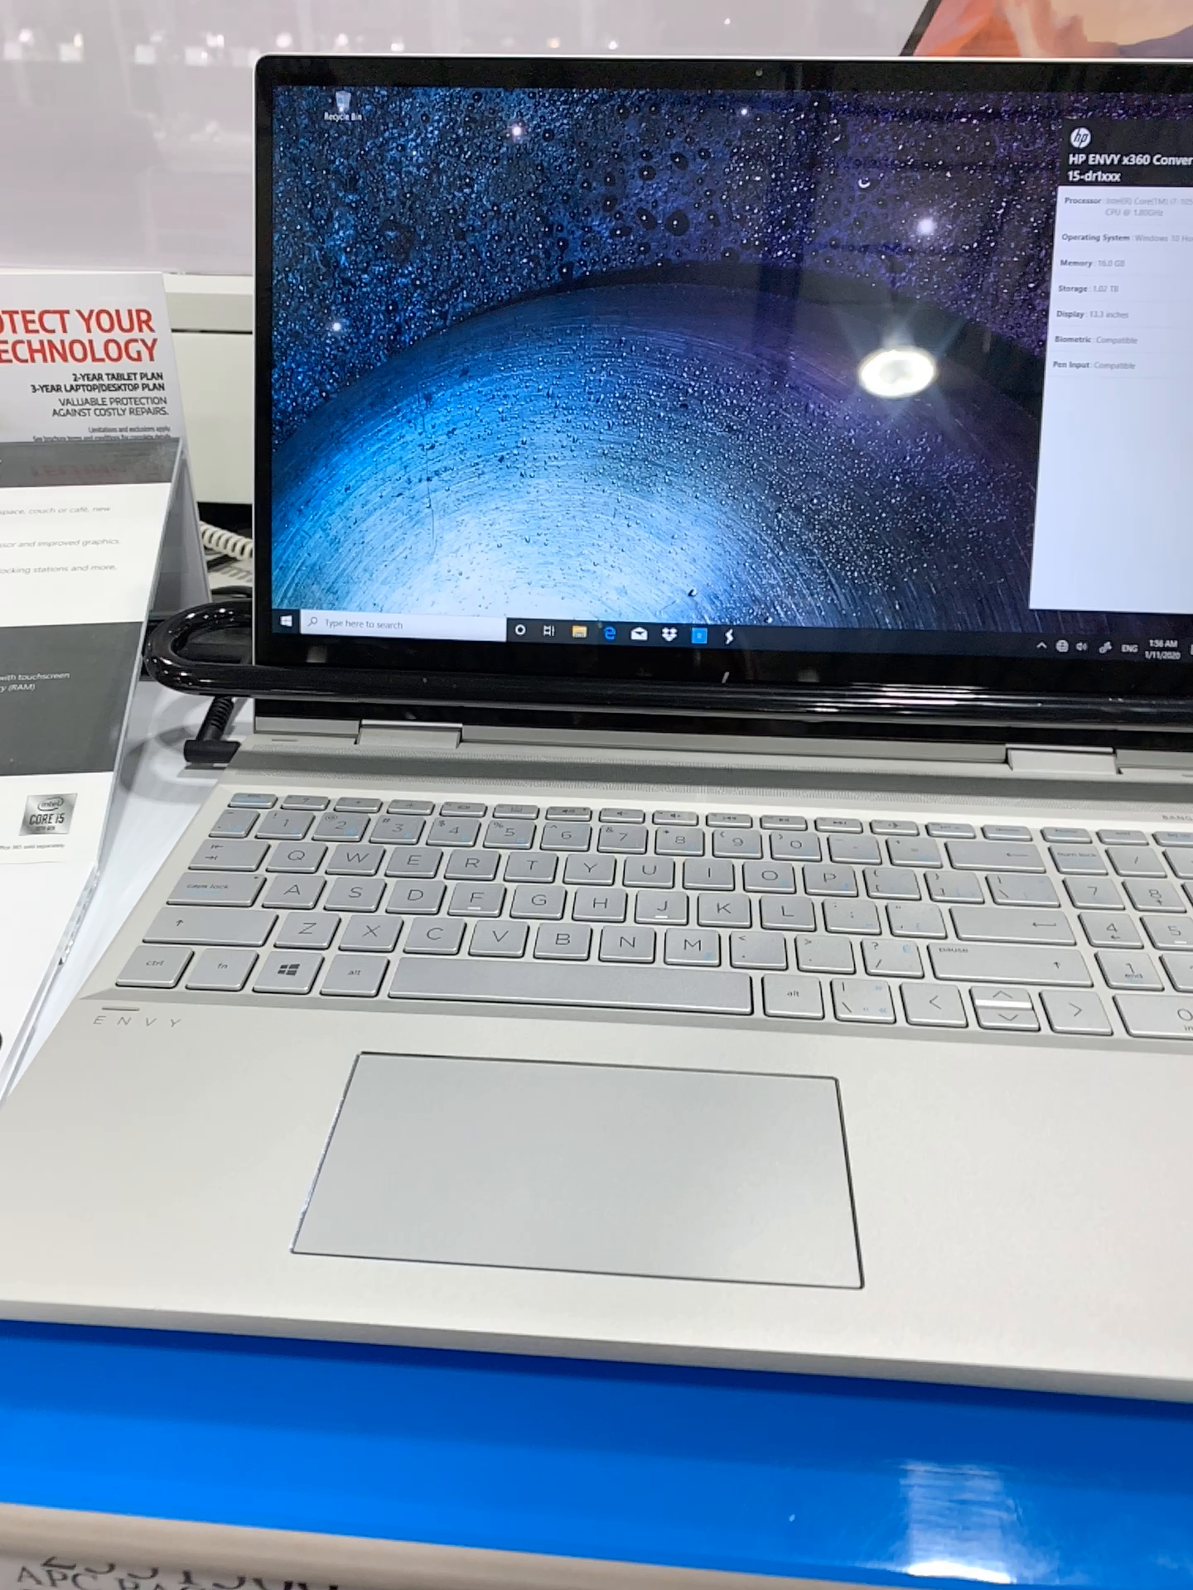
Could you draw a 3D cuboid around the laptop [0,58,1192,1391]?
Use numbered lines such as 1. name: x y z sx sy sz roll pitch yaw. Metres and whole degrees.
1. laptop: 0.042 -0.073 0.329 0.346 0.210 0.341 2 31 3
